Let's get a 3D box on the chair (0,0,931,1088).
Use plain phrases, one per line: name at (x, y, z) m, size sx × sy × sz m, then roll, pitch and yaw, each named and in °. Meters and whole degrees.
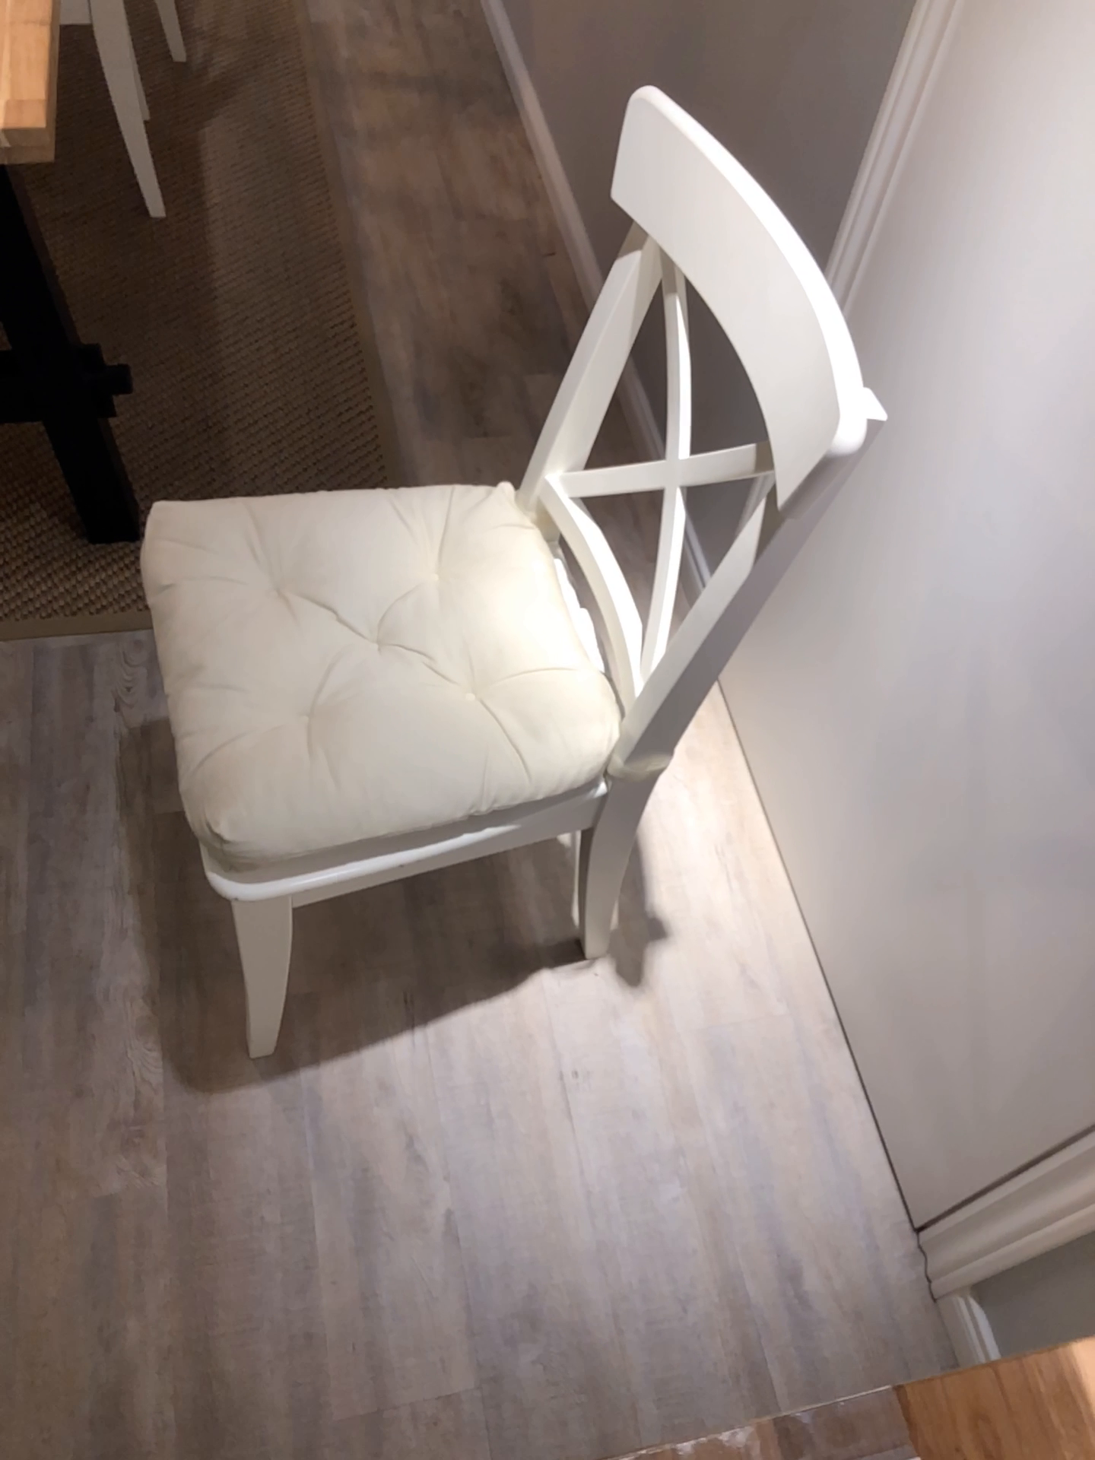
chair at (-0.132, -0.093, 1.115) m, size 0.510 × 0.876 × 0.452 m, roll -12°, pitch 58°, yaw -15°
